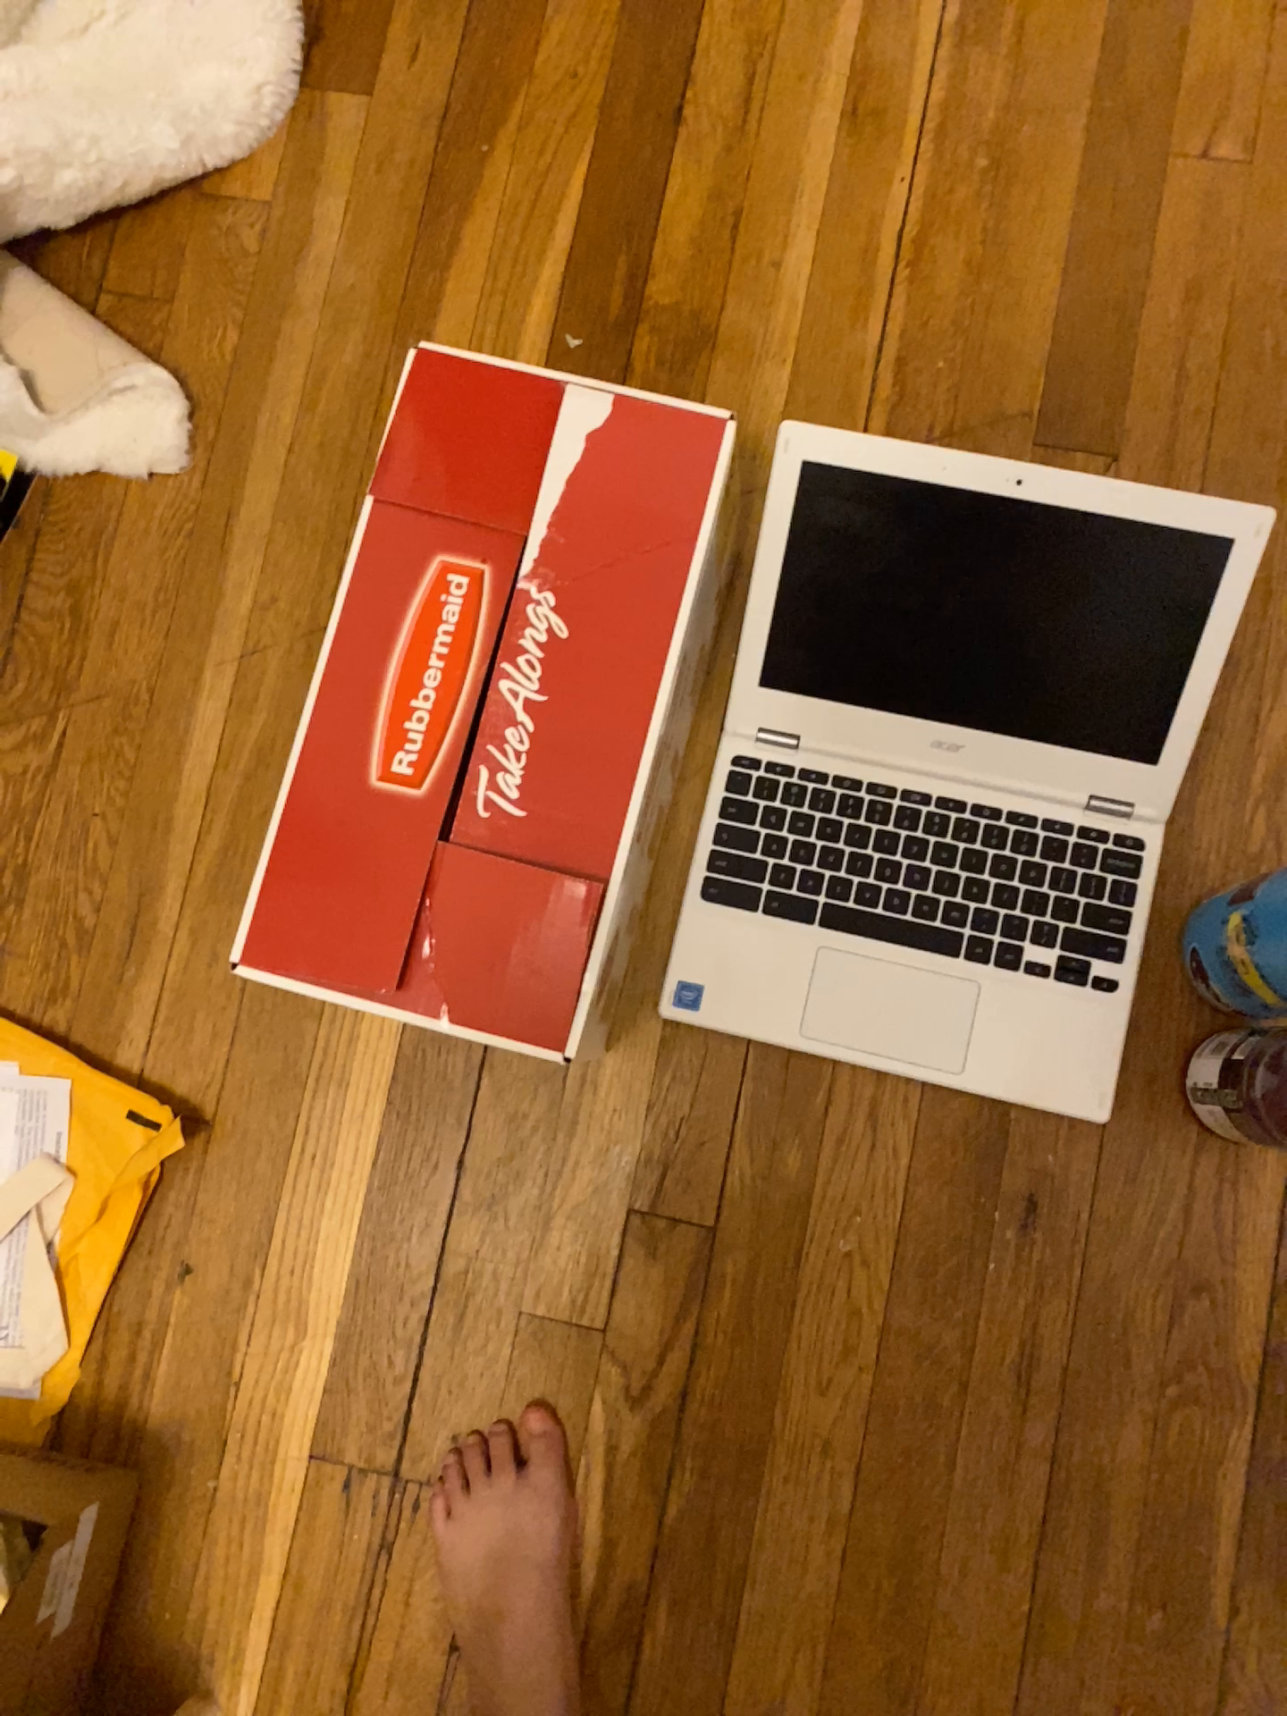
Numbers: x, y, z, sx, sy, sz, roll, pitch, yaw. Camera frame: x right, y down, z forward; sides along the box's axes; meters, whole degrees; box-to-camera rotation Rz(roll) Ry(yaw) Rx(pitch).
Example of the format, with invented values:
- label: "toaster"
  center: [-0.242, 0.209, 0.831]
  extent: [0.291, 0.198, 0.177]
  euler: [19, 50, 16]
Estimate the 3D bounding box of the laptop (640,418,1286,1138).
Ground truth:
- label: "laptop"
  center: [0.187, -0.049, 0.796]
  extent: [0.289, 0.110, 0.364]
  euler: [13, 84, 9]
